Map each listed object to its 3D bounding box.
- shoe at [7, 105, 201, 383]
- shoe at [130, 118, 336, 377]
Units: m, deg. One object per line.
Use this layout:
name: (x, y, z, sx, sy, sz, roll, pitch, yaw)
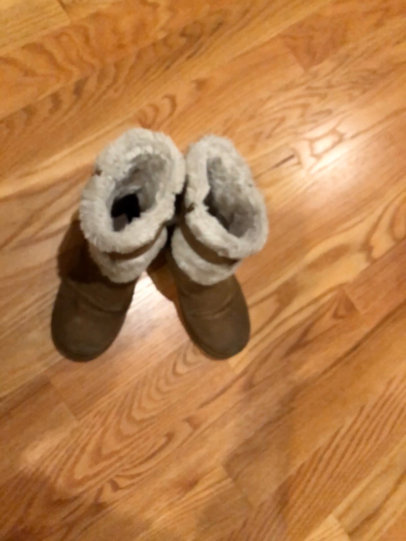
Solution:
shoe: (-0.111, -0.016, 0.532, 0.106, 0.194, 0.255, 19, 76, -11)
shoe: (0.019, -0.015, 0.569, 0.113, 0.194, 0.254, -22, 87, -17)
